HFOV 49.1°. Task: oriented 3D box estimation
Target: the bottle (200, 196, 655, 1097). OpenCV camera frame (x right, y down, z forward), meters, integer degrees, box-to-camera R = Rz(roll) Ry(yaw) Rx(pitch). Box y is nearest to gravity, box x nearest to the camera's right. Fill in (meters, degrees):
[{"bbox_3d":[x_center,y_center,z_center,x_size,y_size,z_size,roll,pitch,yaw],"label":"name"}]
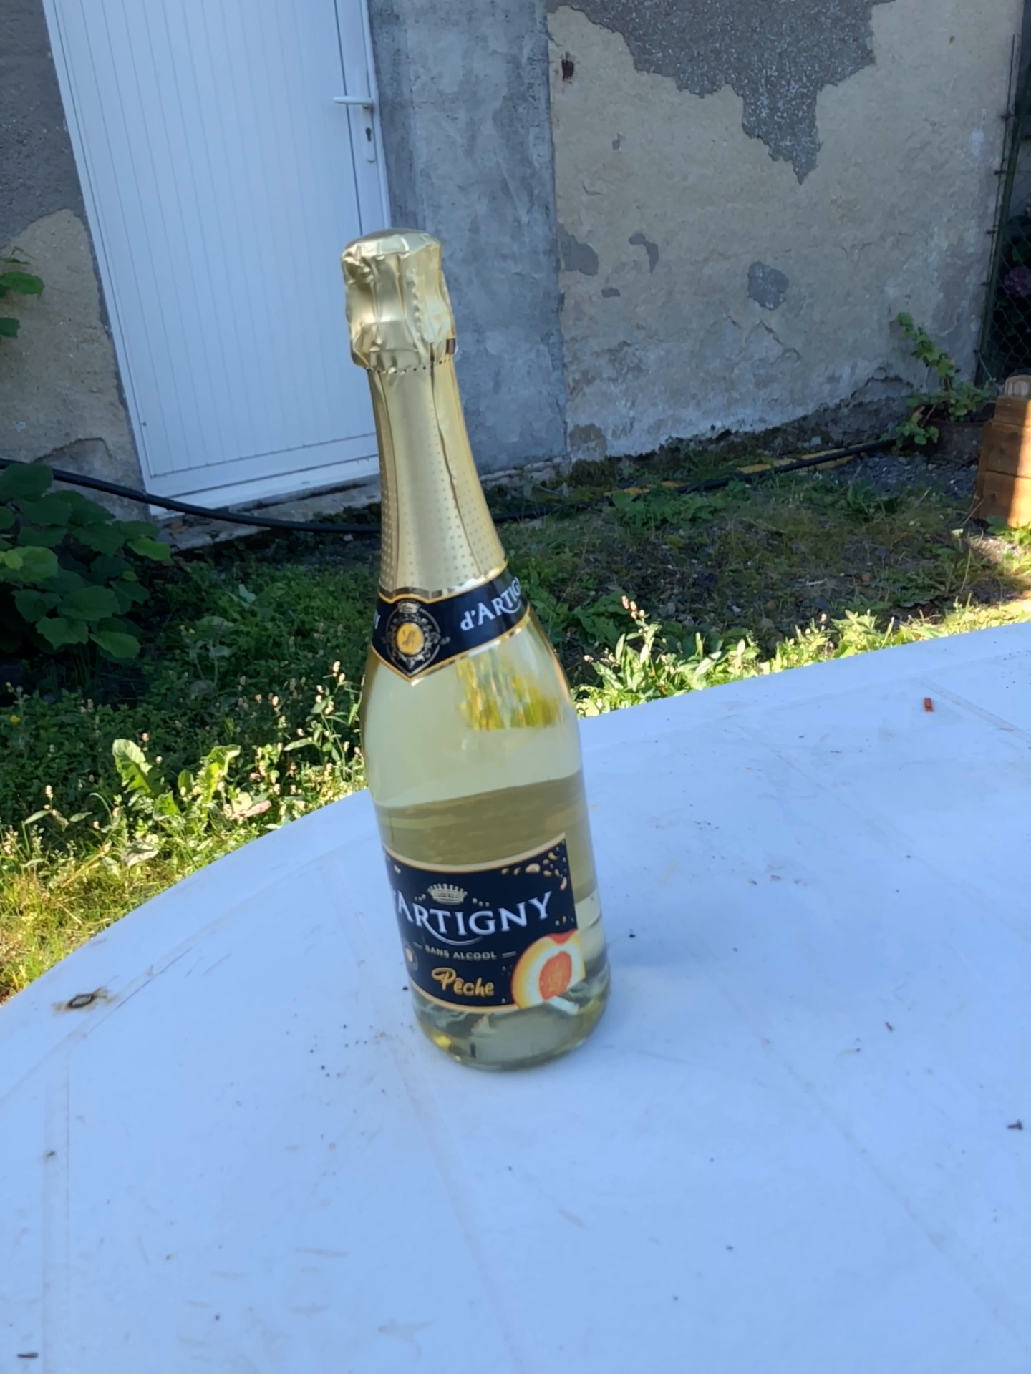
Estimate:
[{"bbox_3d":[-0.017,-0.009,0.410,0.090,0.298,0.091,-6,23,3],"label":"bottle"}]
